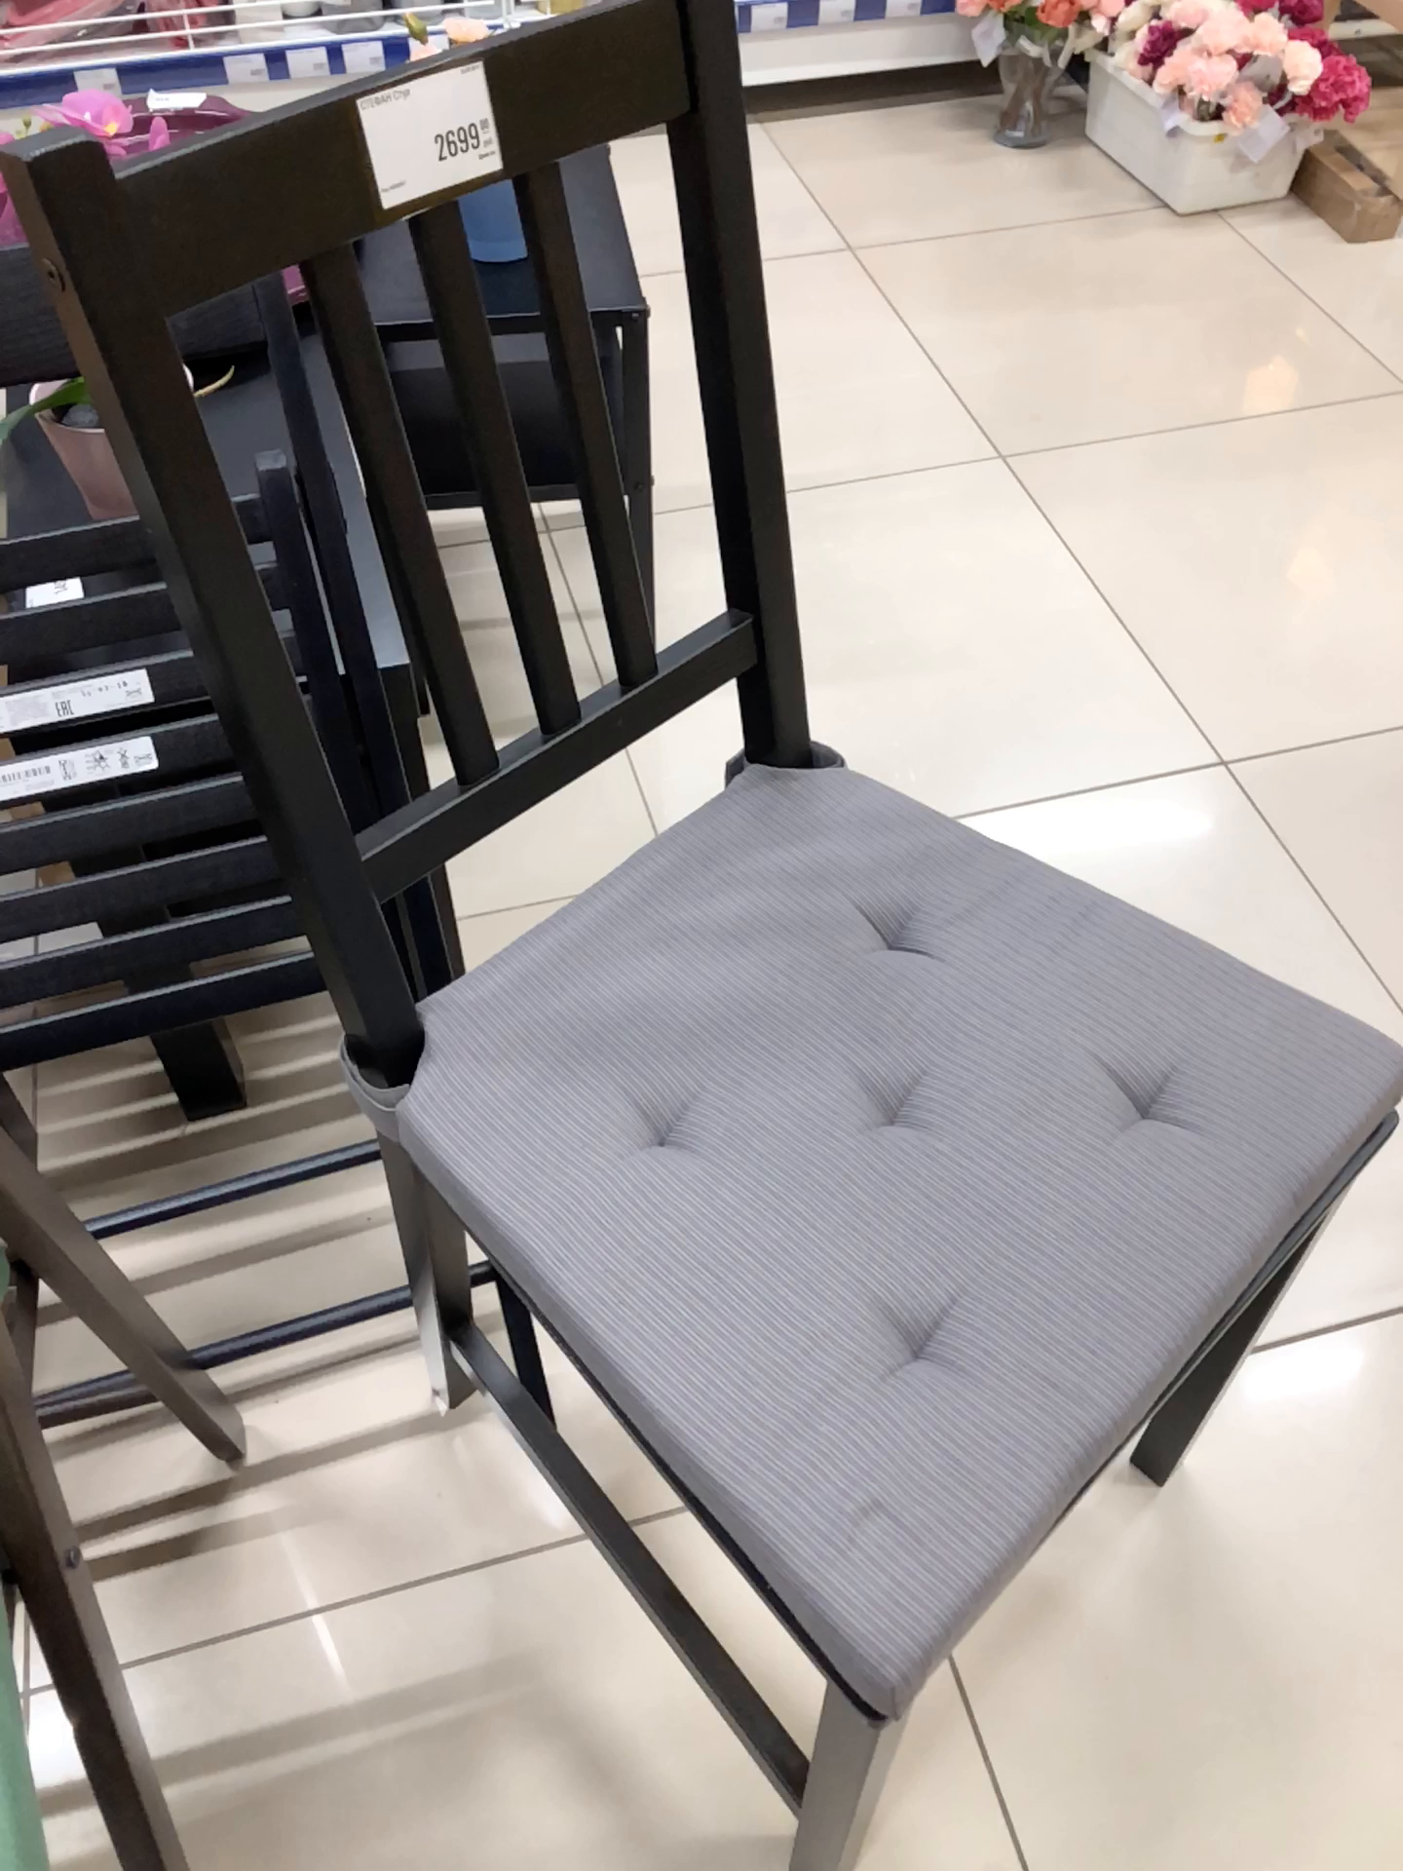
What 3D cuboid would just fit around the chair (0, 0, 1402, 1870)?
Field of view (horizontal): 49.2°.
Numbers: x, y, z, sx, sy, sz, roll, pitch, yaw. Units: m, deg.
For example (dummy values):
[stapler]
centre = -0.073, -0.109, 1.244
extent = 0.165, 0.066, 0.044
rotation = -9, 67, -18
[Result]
[chair]
centre = 0.058, 0.080, 0.799
extent = 0.412, 0.894, 0.491
rotation = -36, 58, -27
